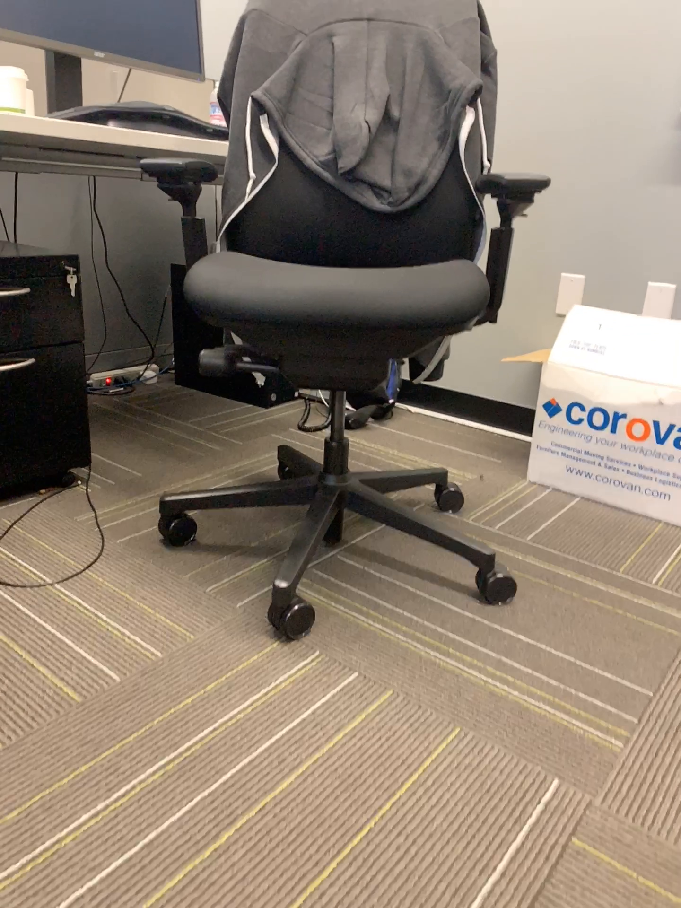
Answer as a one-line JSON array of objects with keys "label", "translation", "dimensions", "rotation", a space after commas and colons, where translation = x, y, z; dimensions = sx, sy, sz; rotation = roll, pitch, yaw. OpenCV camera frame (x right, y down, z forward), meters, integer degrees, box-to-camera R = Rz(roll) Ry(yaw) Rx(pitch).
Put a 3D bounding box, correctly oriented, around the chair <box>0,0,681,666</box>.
[{"label": "chair", "translation": [-0.002, -0.369, 1.302], "dimensions": [0.750, 1.075, 0.884], "rotation": [5, 20, 3]}]
